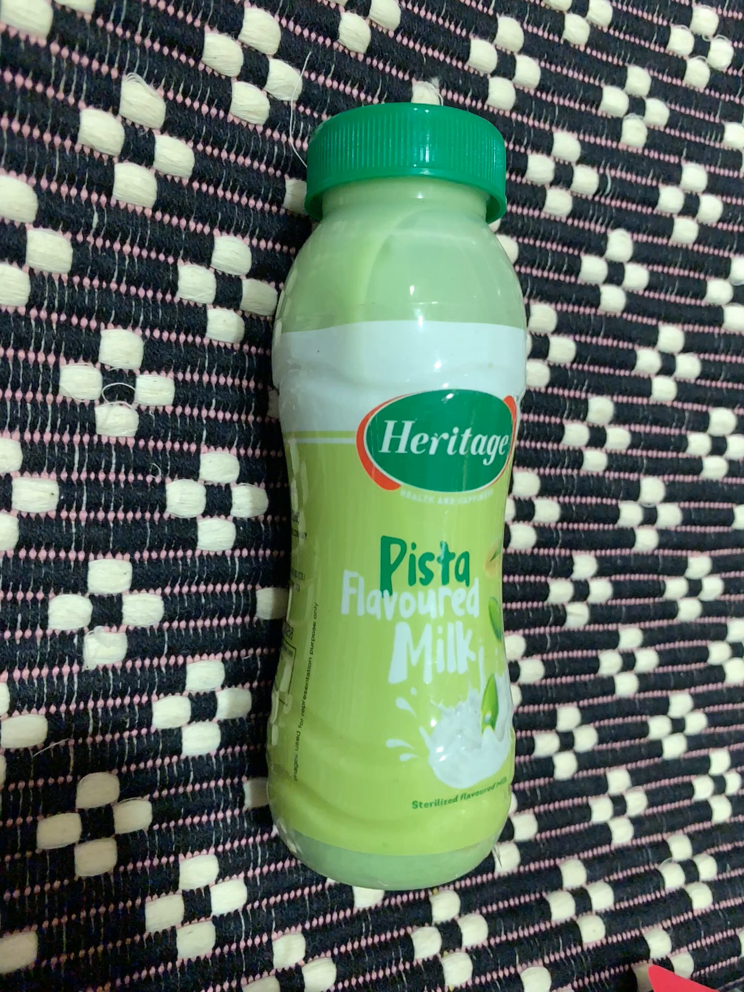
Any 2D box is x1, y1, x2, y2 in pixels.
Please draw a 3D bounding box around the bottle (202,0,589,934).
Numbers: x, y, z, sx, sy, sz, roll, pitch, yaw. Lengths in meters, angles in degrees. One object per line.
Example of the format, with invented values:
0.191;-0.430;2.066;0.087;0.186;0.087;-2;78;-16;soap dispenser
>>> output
0.003;-0.012;0.146;0.050;0.050;0.150;-3;93;-32;bottle
